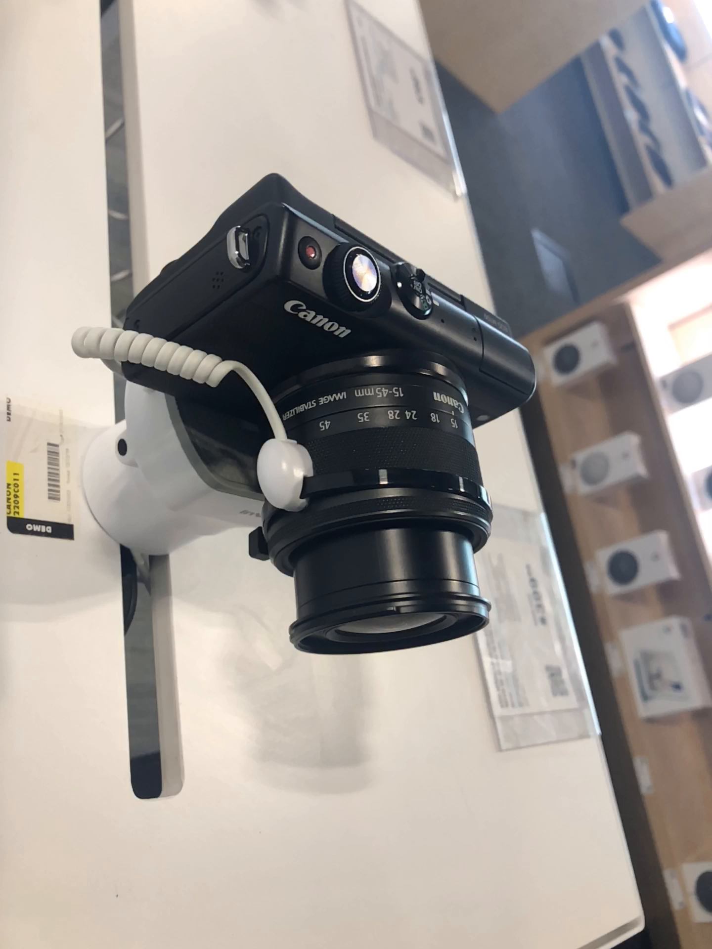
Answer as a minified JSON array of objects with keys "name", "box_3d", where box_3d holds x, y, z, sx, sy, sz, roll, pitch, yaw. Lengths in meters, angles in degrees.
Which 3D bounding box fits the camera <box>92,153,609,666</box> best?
[{"name":"camera","box_3d":[-0.001,-0.004,0.214,0.110,0.072,0.091,18,57,-44]}]
